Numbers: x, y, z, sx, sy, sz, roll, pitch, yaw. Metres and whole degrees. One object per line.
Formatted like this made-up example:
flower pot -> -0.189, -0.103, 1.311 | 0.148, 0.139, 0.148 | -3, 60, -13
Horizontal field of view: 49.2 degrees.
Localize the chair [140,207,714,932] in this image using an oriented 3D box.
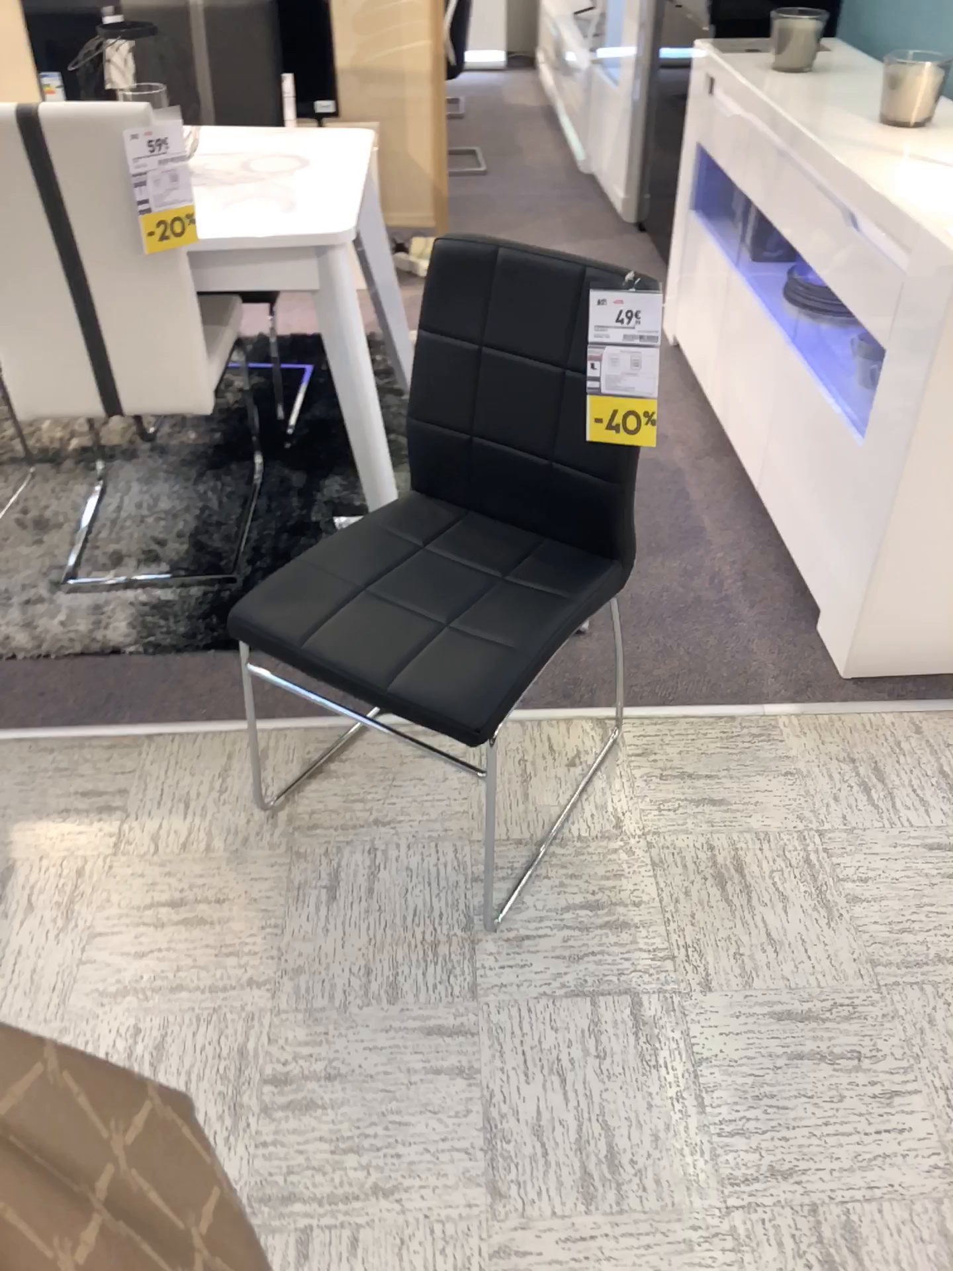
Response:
chair -> -0.040, -0.113, 1.574 | 0.520, 0.825, 0.539 | 20, 42, 24
